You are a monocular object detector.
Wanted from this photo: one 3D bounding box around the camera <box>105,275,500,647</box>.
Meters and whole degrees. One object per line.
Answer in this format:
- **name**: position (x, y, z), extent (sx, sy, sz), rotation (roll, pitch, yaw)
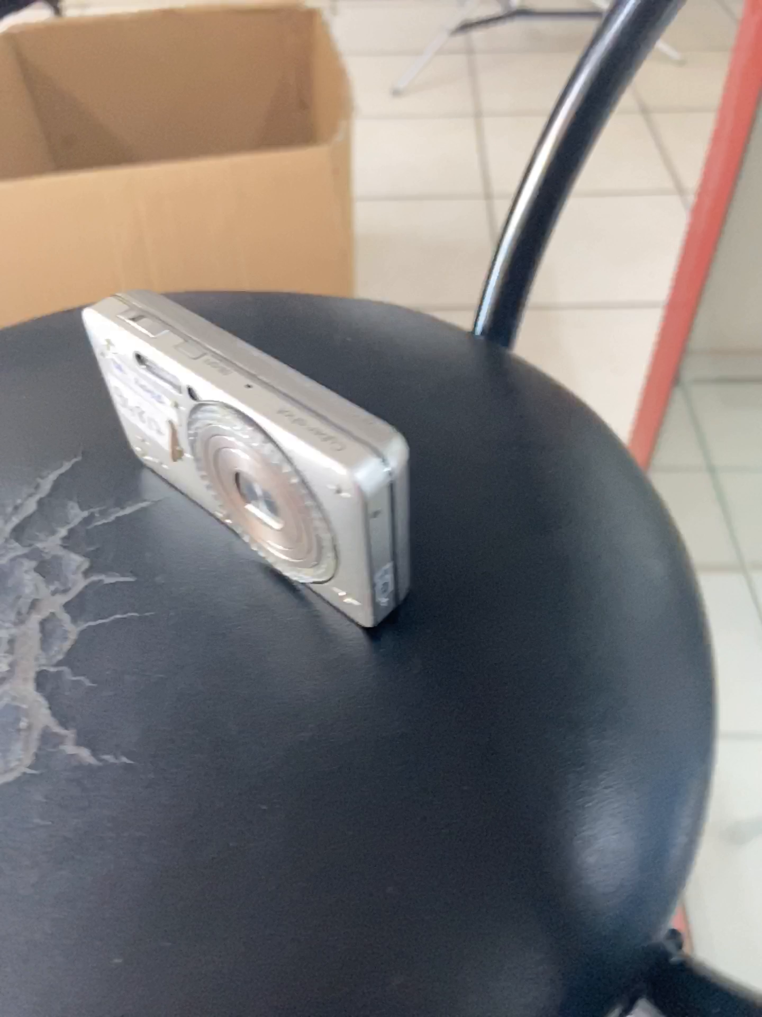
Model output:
- **camera**: position (-0.019, -0.013, 0.180), extent (0.092, 0.042, 0.022), rotation (32, 57, 27)
